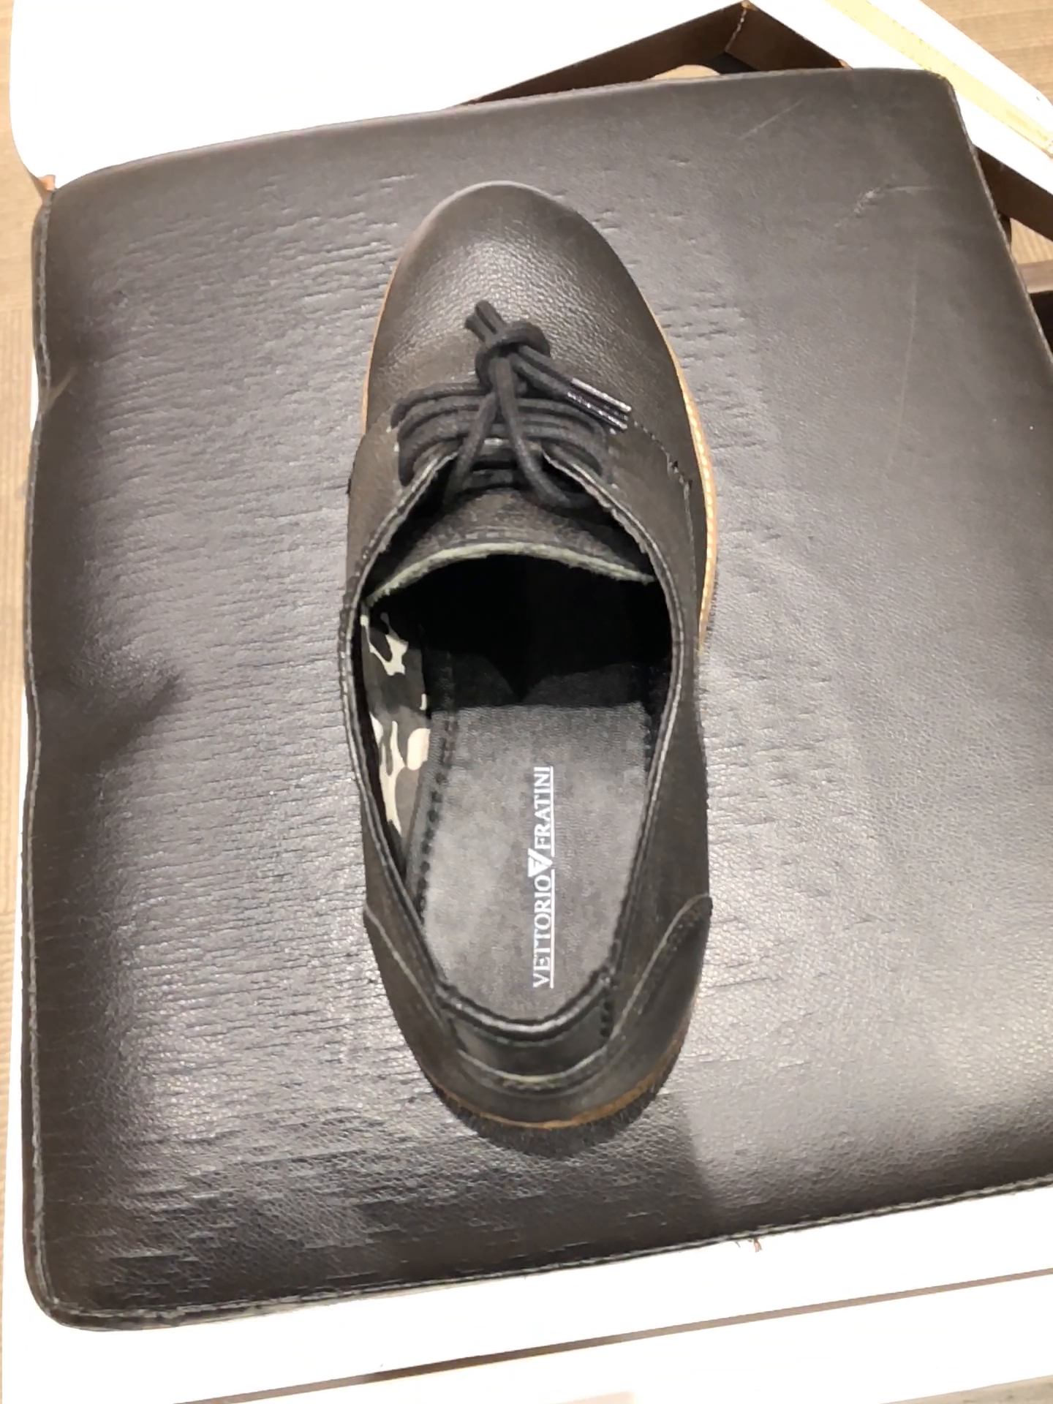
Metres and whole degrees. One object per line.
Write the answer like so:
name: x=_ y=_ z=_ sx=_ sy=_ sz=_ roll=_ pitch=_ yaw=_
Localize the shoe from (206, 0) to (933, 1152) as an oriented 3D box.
shoe: x=-0.003 y=-0.054 z=0.277 sx=0.110 sy=0.100 sz=0.291 roll=-5 pitch=68 yaw=1
